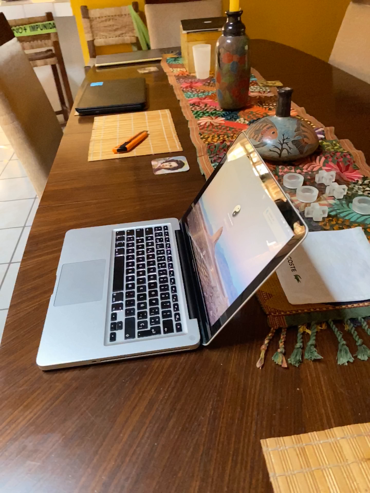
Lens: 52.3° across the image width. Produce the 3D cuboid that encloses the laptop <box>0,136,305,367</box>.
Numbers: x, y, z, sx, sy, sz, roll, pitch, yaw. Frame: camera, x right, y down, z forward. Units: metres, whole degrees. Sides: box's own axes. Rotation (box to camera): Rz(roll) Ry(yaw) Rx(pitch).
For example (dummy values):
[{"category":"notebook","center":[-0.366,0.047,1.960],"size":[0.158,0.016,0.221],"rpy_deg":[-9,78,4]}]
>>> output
[{"category":"laptop","center":[-0.054,-0.019,0.606],"size":[0.357,0.170,0.326],"rpy_deg":[-7,37,-3]}]
